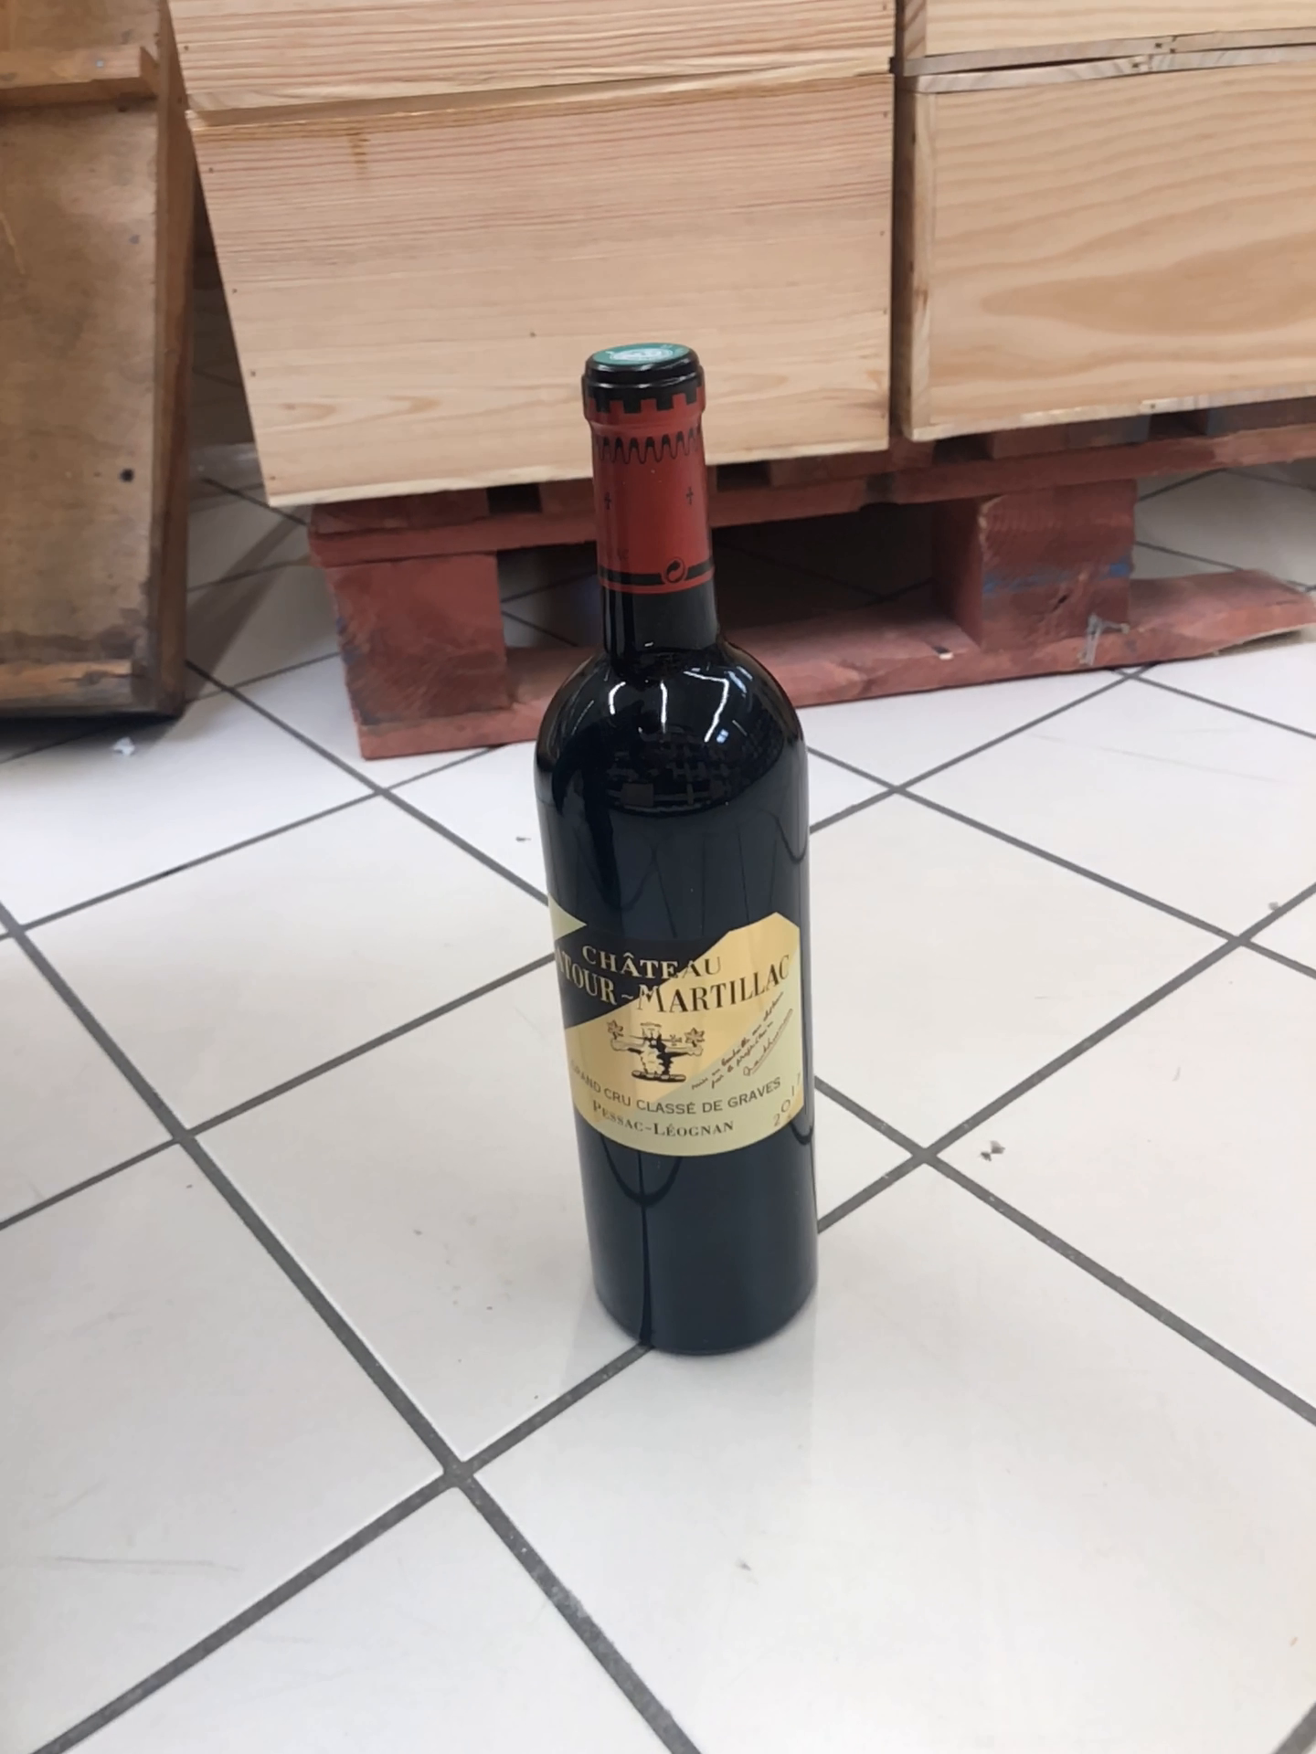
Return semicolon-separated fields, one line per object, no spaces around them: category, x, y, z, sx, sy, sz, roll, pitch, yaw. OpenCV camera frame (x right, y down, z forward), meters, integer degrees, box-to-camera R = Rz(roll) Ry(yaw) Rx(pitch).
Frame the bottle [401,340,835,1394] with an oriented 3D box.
bottle;0.003;0.008;0.395;0.080;0.278;0.081;-3;30;2
